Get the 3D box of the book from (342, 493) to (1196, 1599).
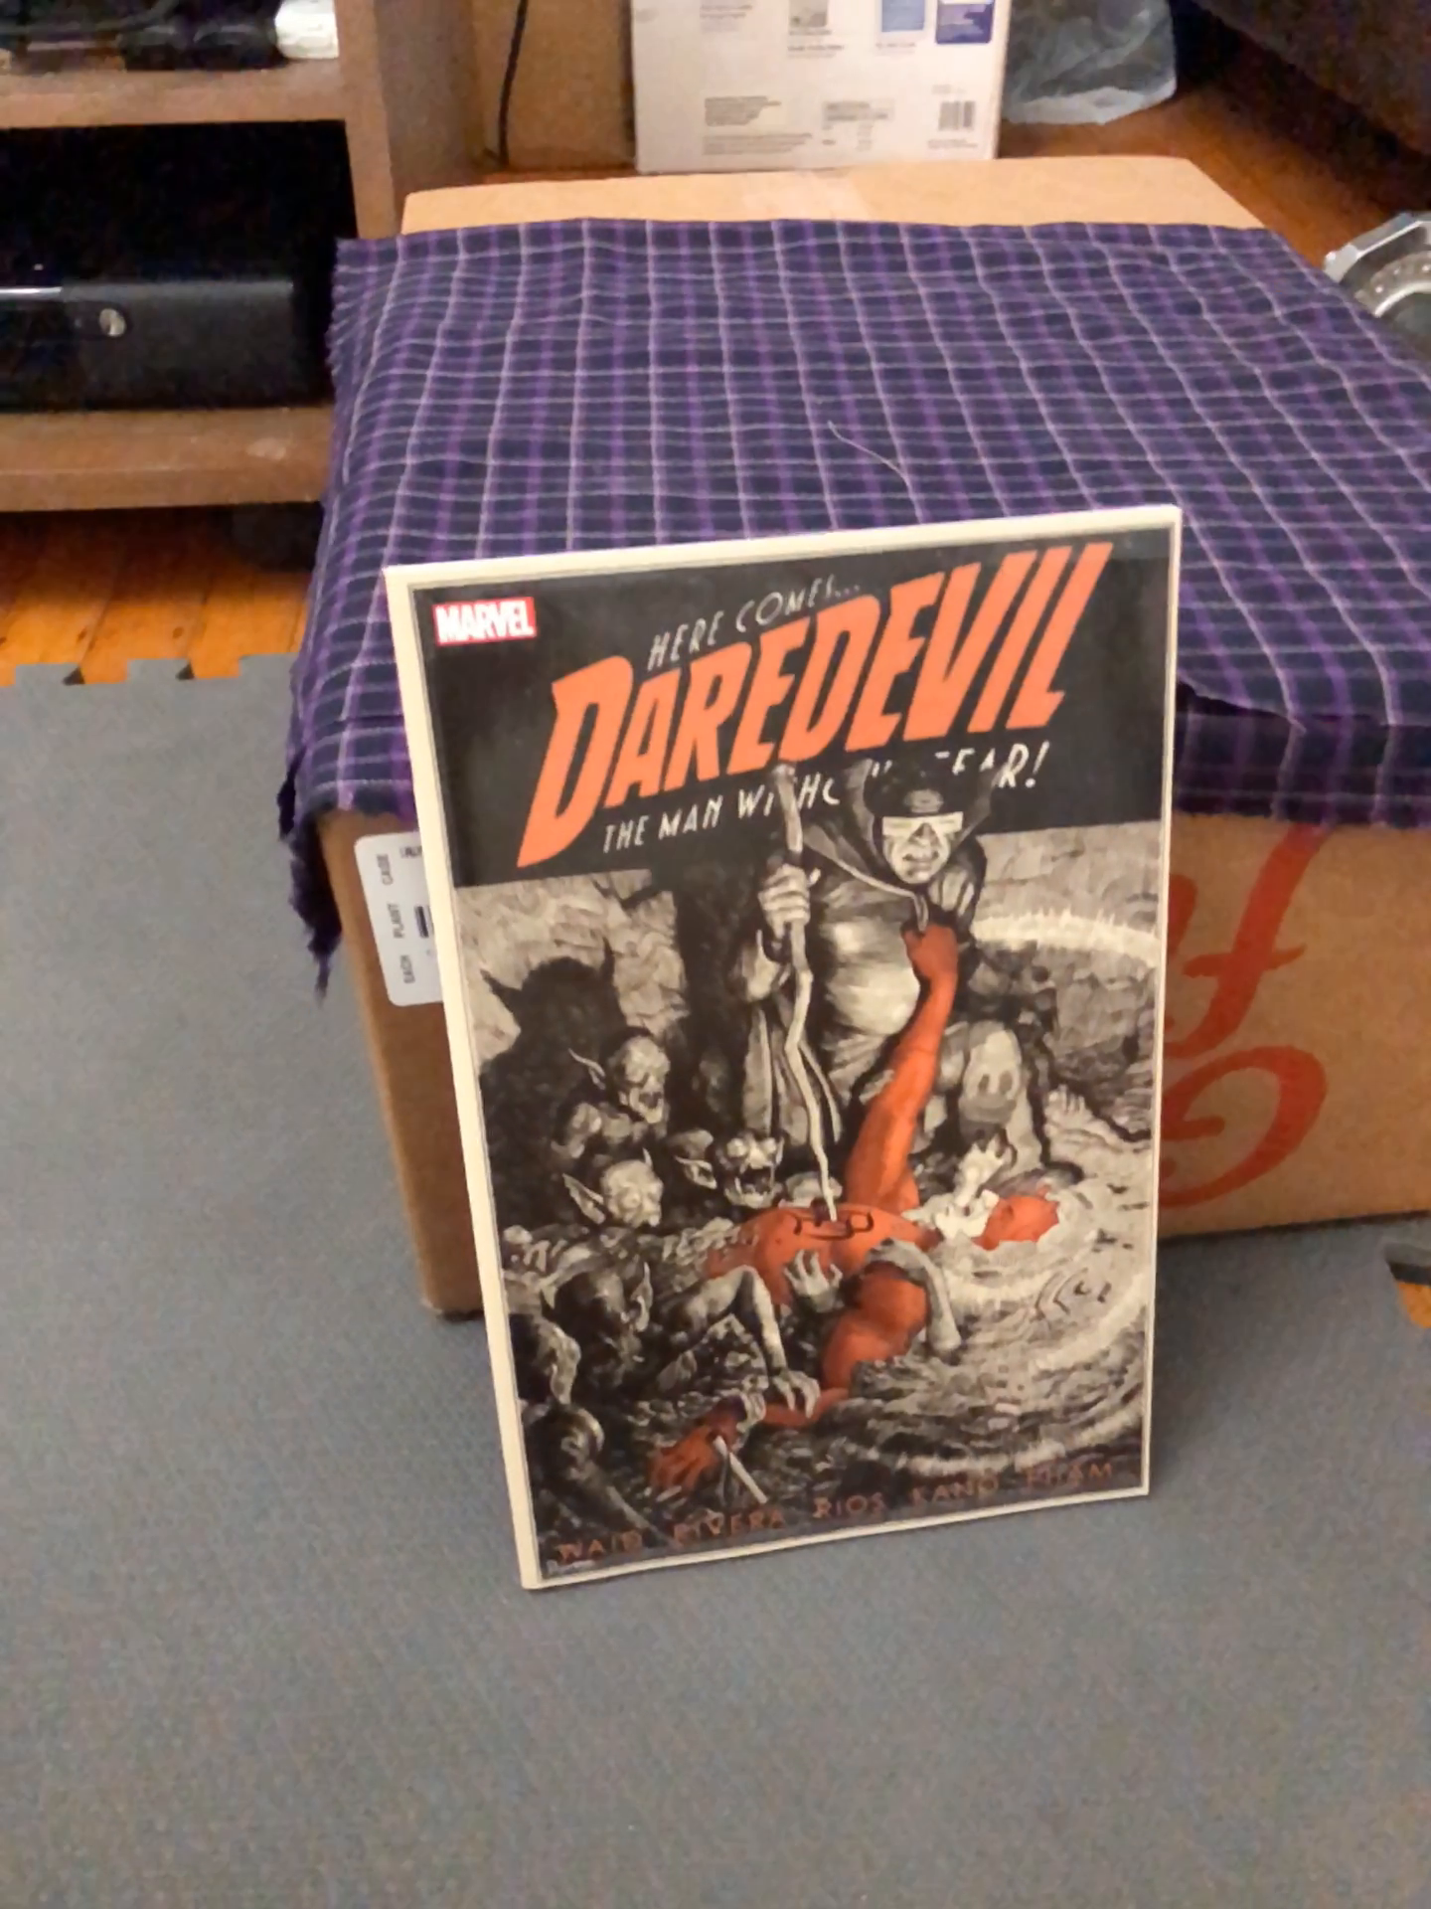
[{"bbox_3d":[0.019,0.027,0.339,0.160,0.229,0.020,-6,20,-7],"label":"book"}]
